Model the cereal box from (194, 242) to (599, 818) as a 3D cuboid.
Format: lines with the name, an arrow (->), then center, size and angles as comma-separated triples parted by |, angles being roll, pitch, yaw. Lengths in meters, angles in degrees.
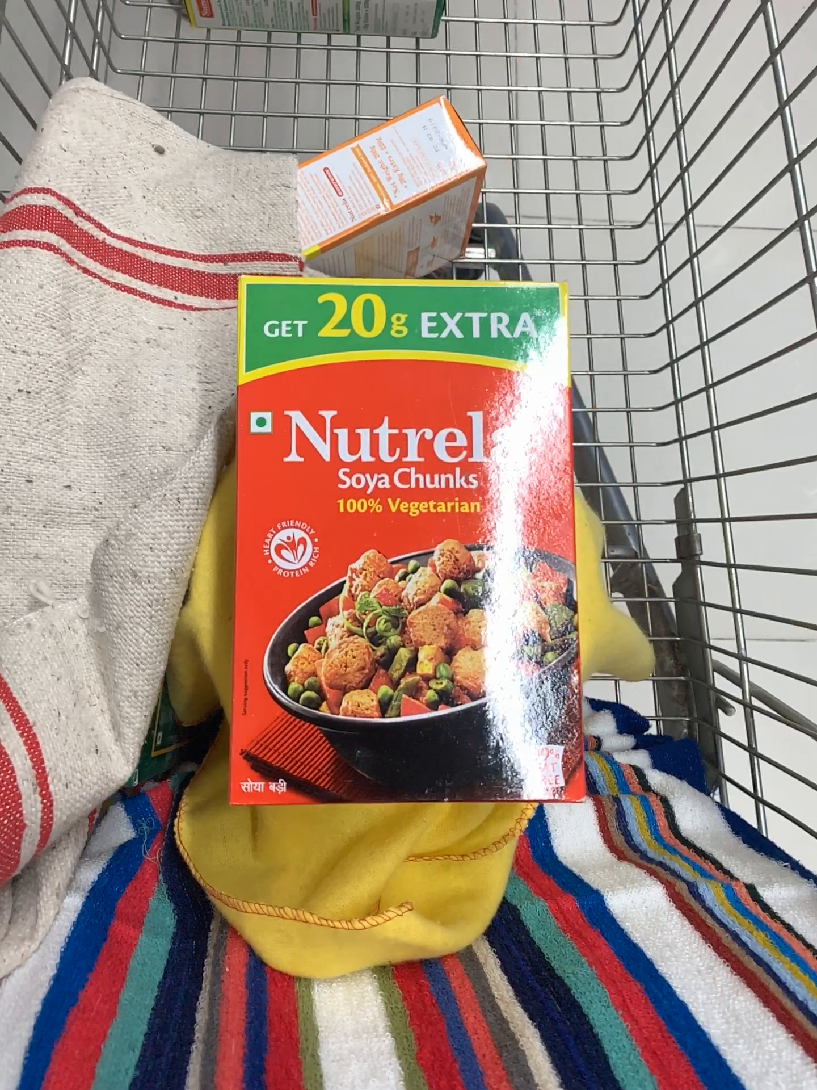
cereal box -> -0.005, -0.005, 0.291 | 0.120, 0.060, 0.180 | 0, 82, -3
